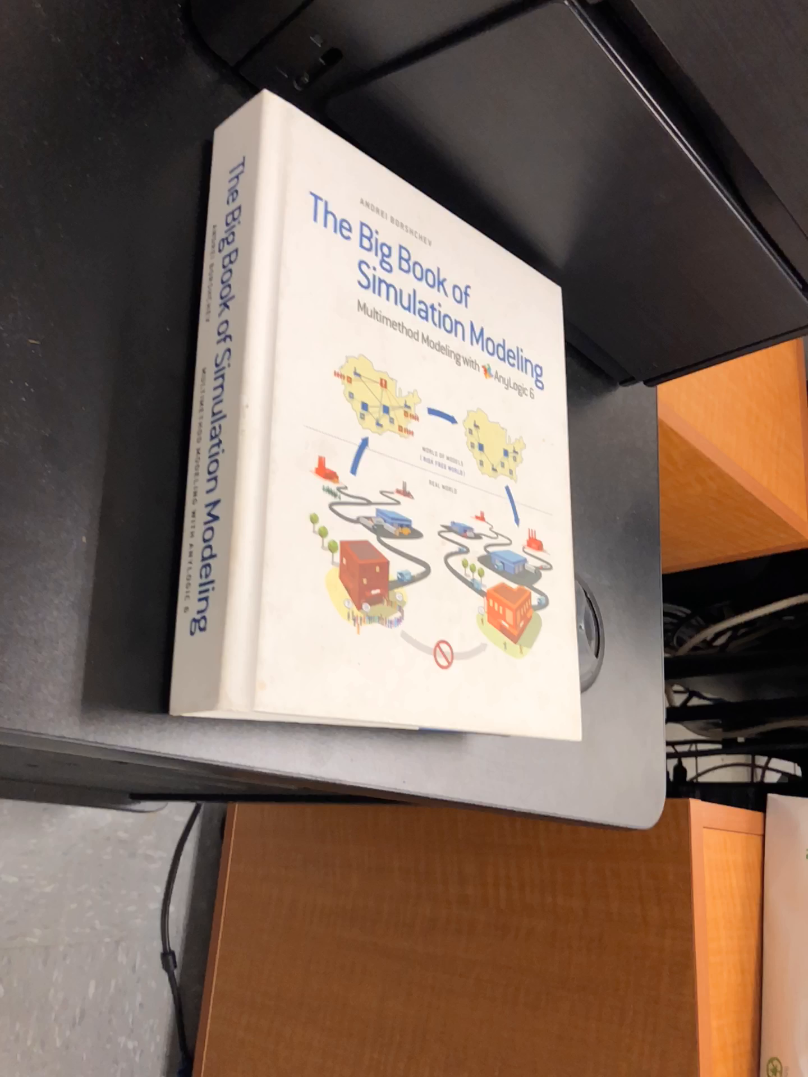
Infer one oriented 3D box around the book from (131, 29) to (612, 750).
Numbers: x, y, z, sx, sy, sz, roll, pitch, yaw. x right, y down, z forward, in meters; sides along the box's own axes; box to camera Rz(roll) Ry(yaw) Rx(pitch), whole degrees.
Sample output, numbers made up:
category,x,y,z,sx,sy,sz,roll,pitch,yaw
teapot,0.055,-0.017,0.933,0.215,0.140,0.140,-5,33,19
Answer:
category,x,y,z,sx,sy,sz,roll,pitch,yaw
book,0.003,-0.042,0.383,0.211,0.050,0.250,16,67,-43
